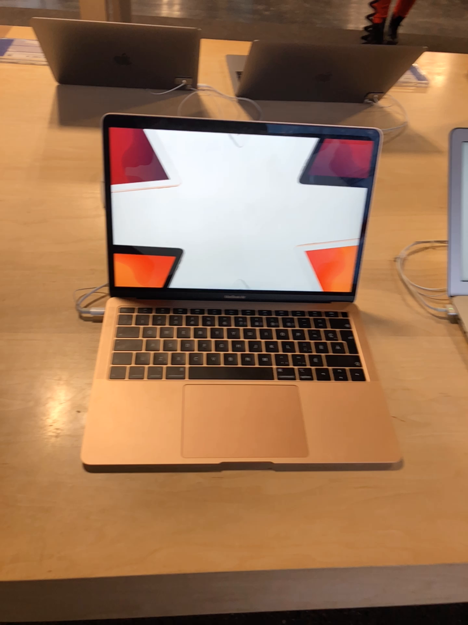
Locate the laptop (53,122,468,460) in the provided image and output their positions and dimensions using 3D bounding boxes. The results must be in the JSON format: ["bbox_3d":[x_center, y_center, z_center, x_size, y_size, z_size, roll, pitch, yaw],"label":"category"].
[{"bbox_3d":[0.017,-0.030,0.506,0.291,0.183,0.285,1,45,-4],"label":"laptop"}]
